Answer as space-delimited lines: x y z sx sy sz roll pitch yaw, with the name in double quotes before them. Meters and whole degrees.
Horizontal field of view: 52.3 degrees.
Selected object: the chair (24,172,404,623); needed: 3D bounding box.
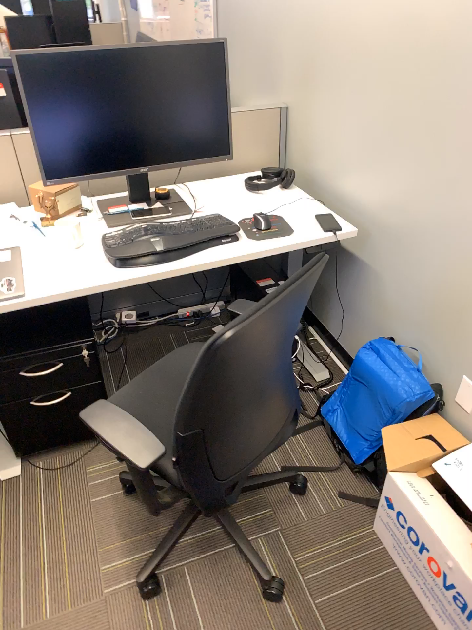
"chair" 0.004 0.192 1.516 0.612 0.945 0.832 21 41 27
